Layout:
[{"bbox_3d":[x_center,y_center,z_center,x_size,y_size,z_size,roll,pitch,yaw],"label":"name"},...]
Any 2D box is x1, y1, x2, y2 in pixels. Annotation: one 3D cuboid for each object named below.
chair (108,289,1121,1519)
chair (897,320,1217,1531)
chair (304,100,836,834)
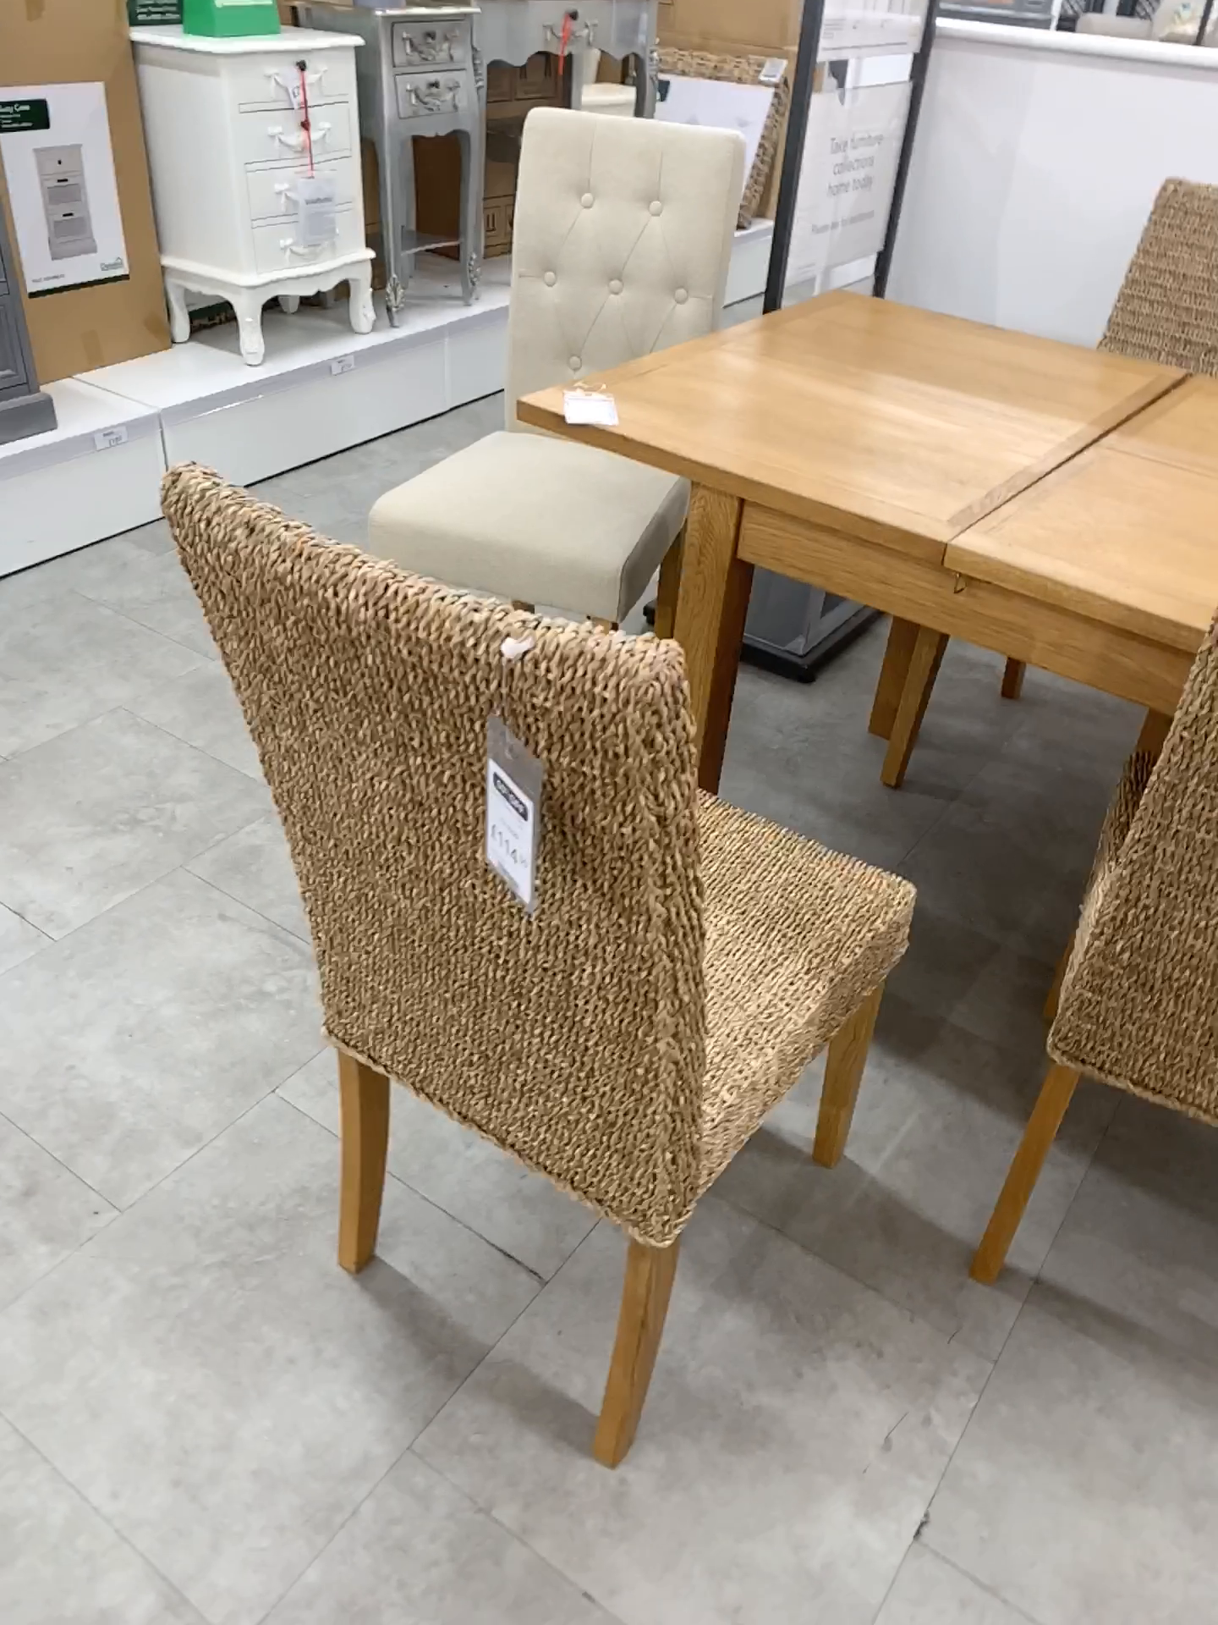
[{"bbox_3d":[0.012,0.054,1.154,0.506,0.840,0.578,26,41,27],"label":"chair"},{"bbox_3d":[0.702,0.086,1.193,0.526,0.869,0.569,20,39,21],"label":"chair"},{"bbox_3d":[-0.035,-0.559,1.906,0.425,0.840,0.730,19,38,19],"label":"chair"}]
